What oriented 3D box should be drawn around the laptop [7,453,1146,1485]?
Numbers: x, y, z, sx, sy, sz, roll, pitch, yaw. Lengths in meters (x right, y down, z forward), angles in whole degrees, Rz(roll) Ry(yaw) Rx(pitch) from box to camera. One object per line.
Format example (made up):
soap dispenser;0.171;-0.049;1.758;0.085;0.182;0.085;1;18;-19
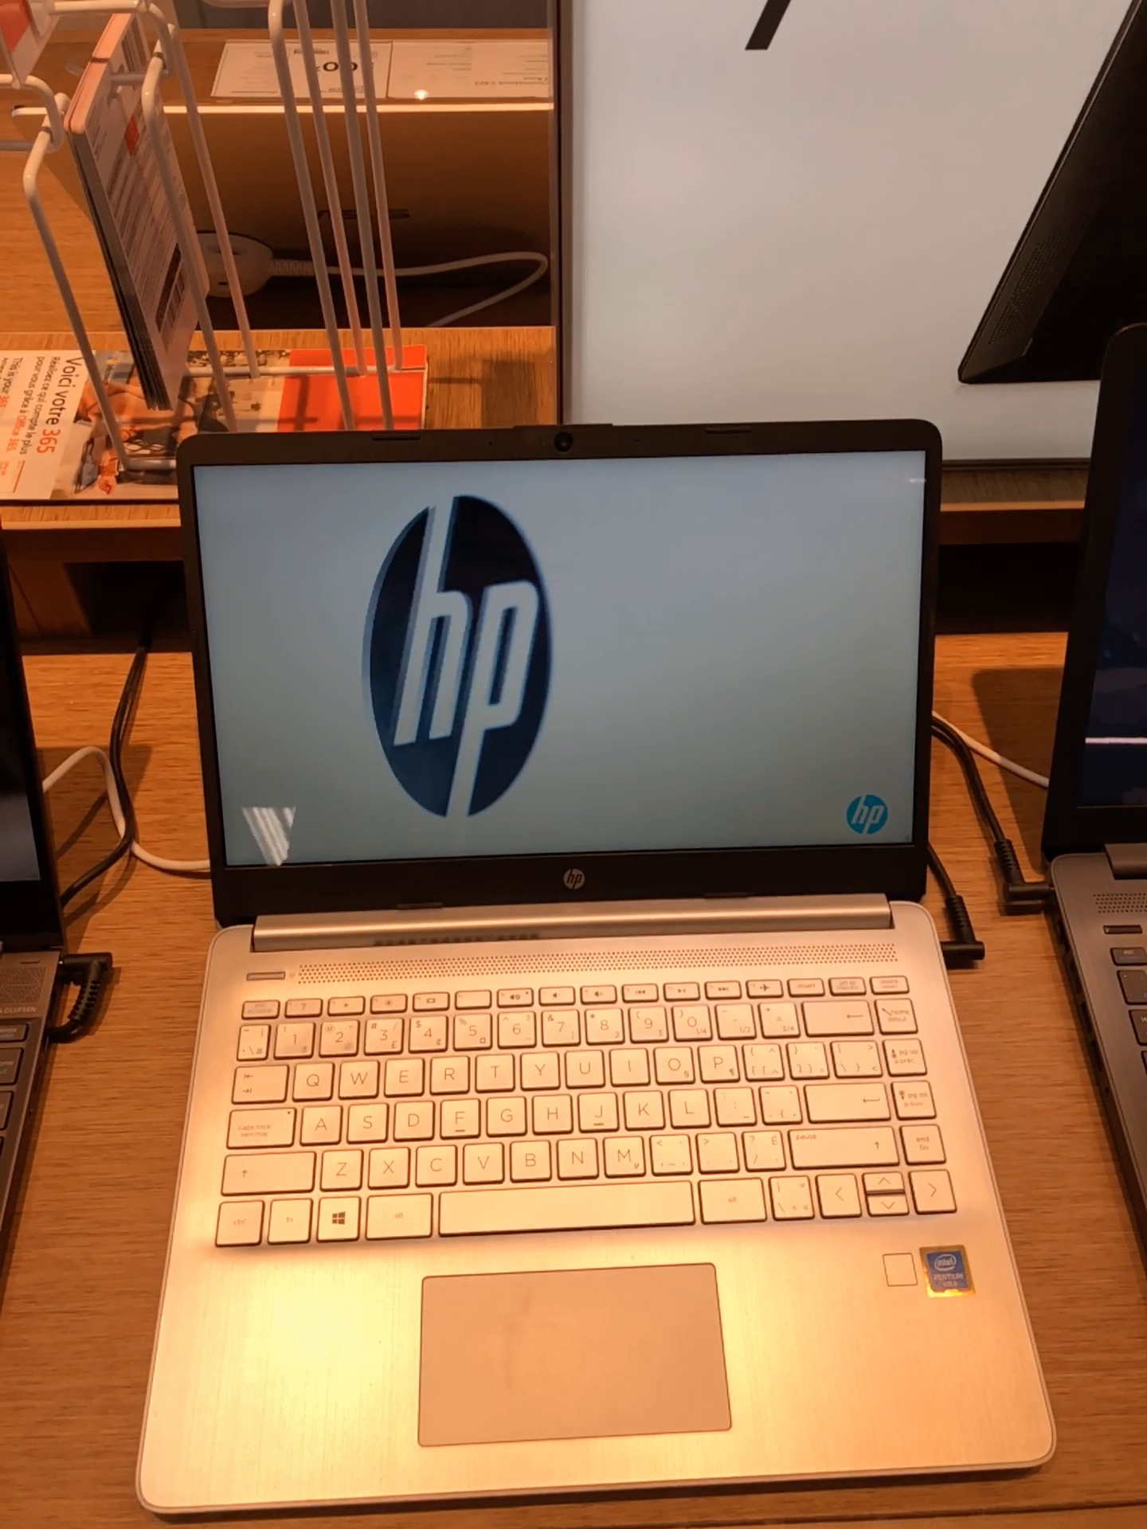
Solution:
laptop;0.007;0.064;0.485;0.307;0.167;0.347;-2;53;1
